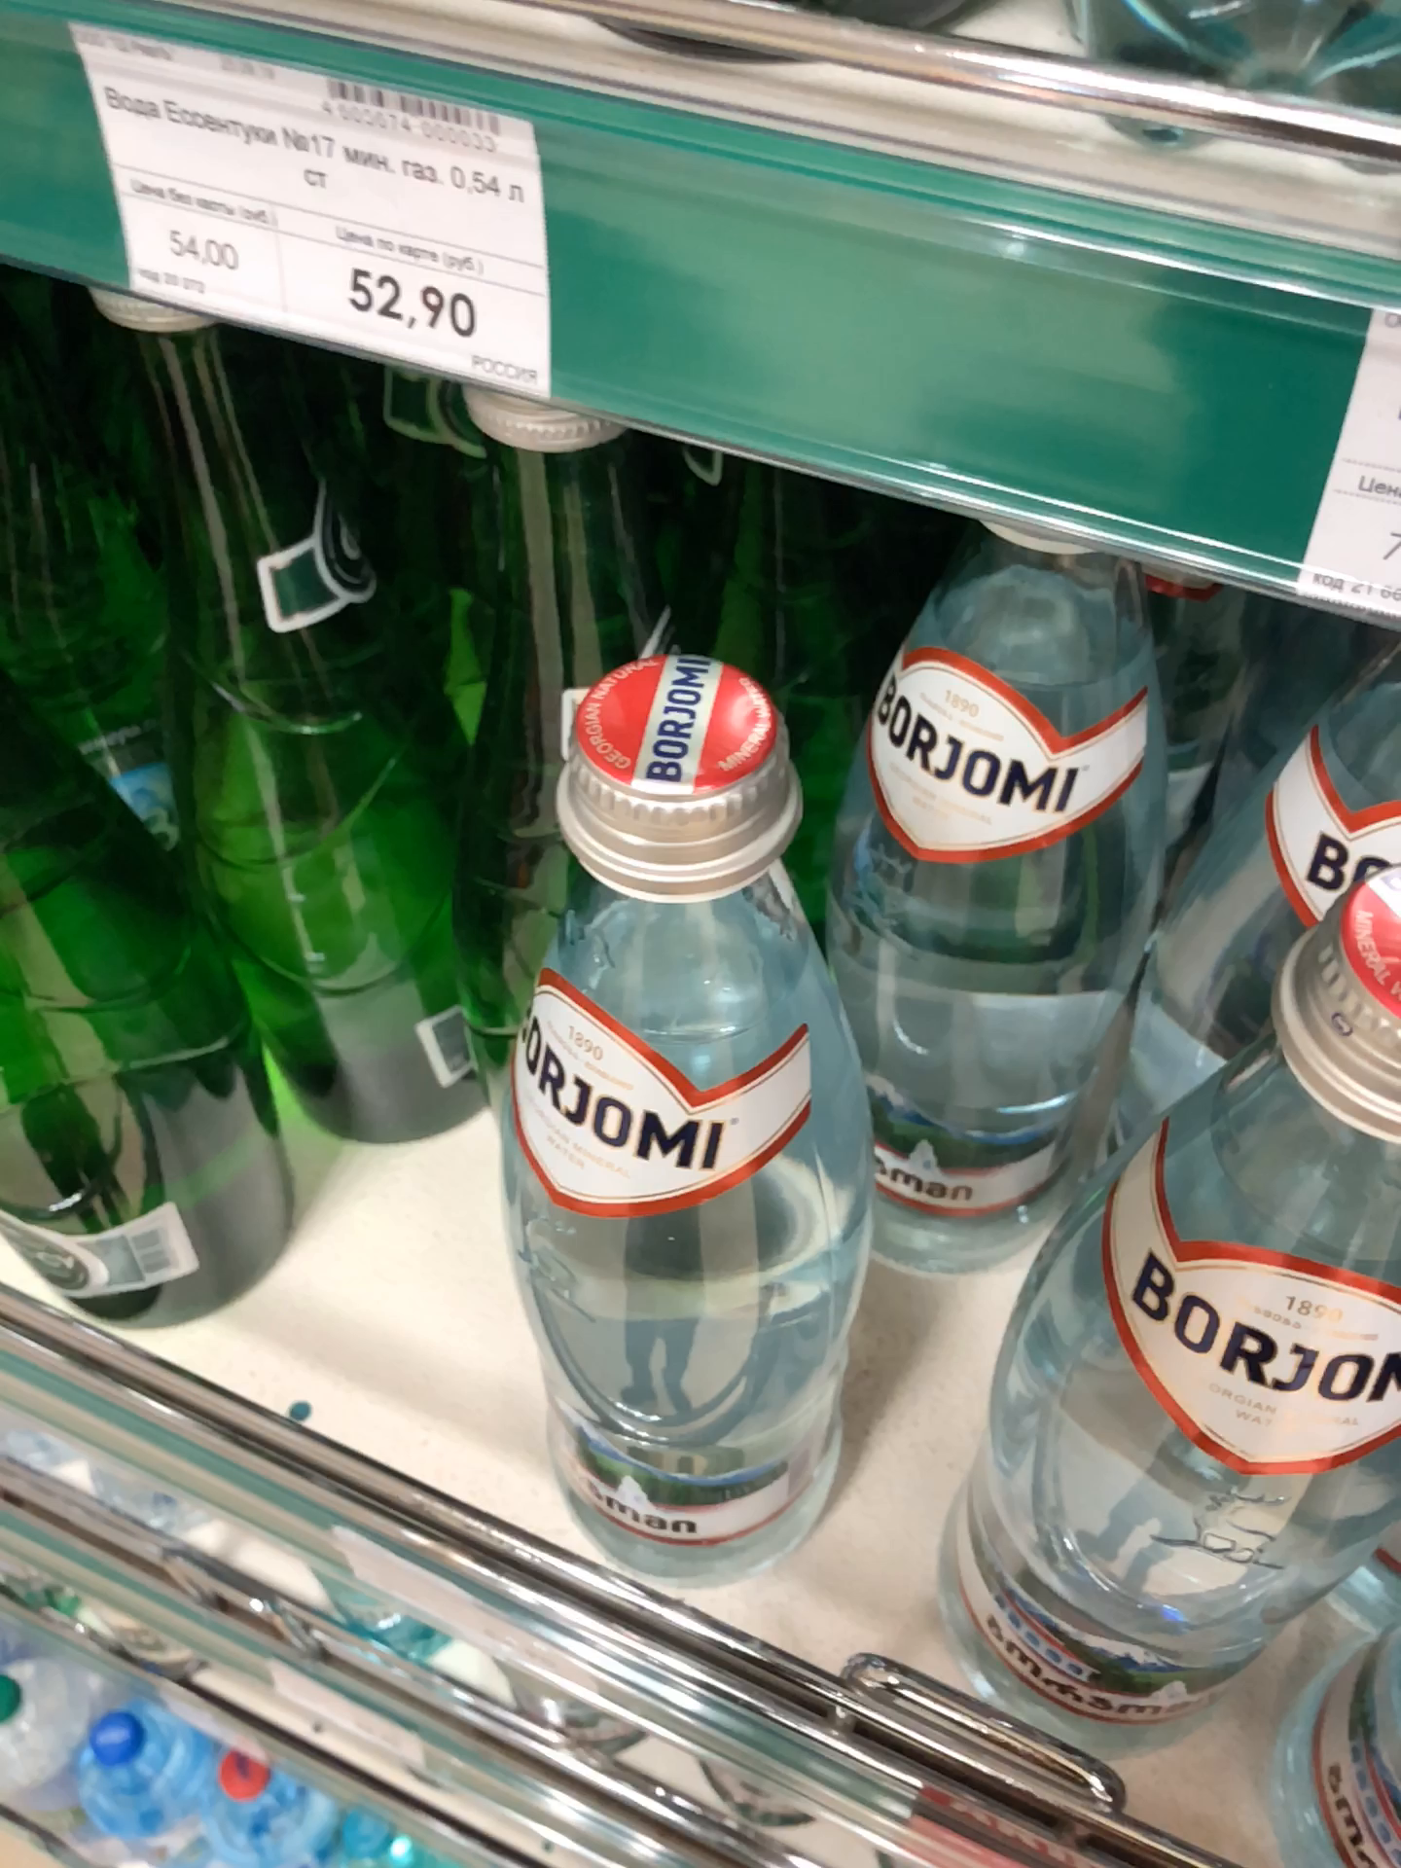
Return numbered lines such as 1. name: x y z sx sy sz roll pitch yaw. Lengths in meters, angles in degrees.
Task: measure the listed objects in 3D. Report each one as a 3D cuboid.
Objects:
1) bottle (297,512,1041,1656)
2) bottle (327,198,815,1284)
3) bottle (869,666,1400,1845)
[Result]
1. bottle: -0.002 0.050 0.283 0.068 0.236 0.063 0 51 0
2. bottle: -0.022 -0.018 0.330 0.065 0.237 0.069 0 51 0
3. bottle: 0.084 0.077 0.260 0.069 0.236 0.065 0 51 0
